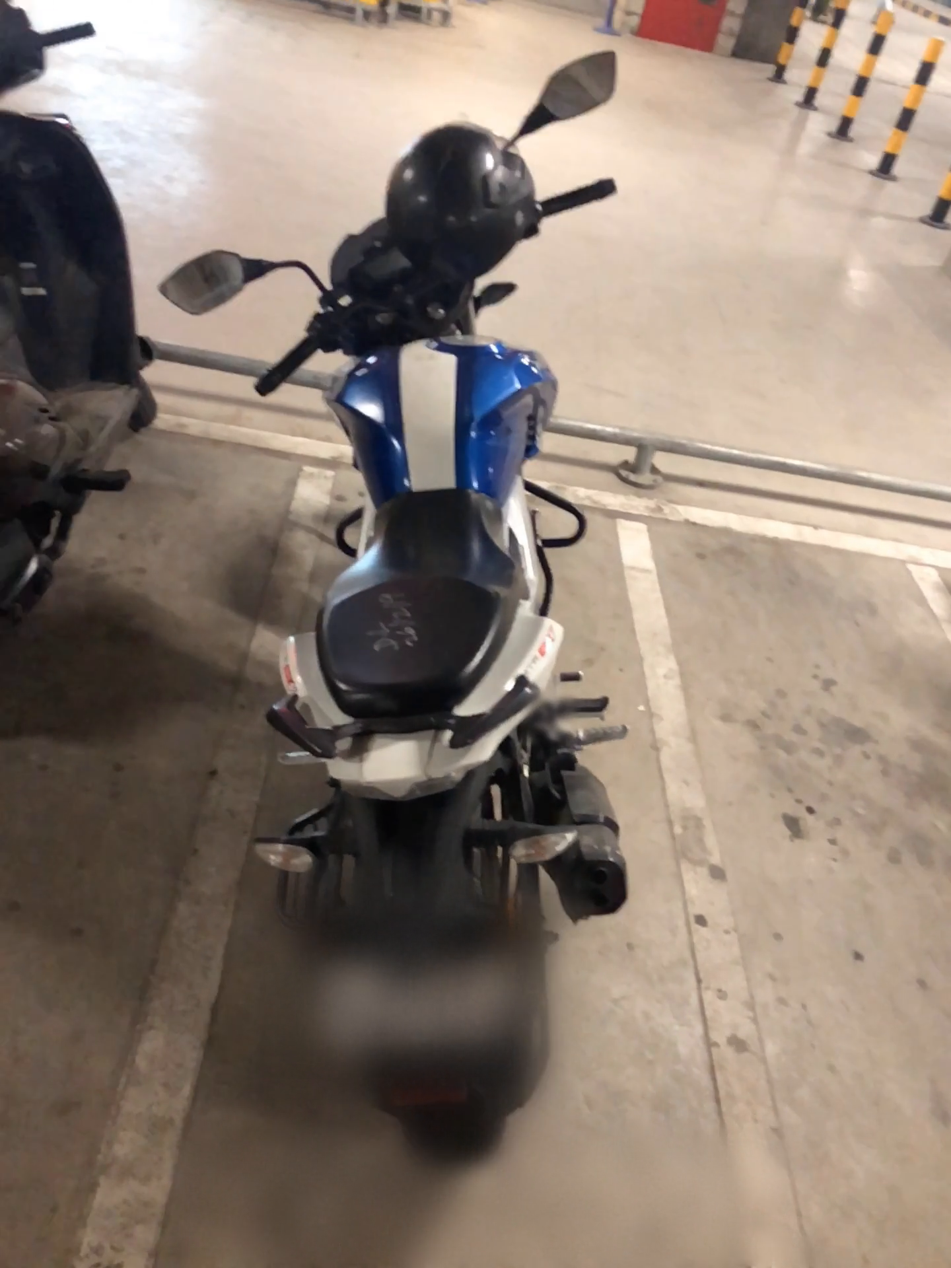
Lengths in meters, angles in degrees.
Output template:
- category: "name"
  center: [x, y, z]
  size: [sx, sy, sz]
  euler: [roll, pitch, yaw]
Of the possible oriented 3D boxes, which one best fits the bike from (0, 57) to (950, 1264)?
- category: "bike"
  center: [-0.219, -0.165, 1.917]
  size: [0.806, 1.162, 1.996]
  euler: [5, 37, -11]
